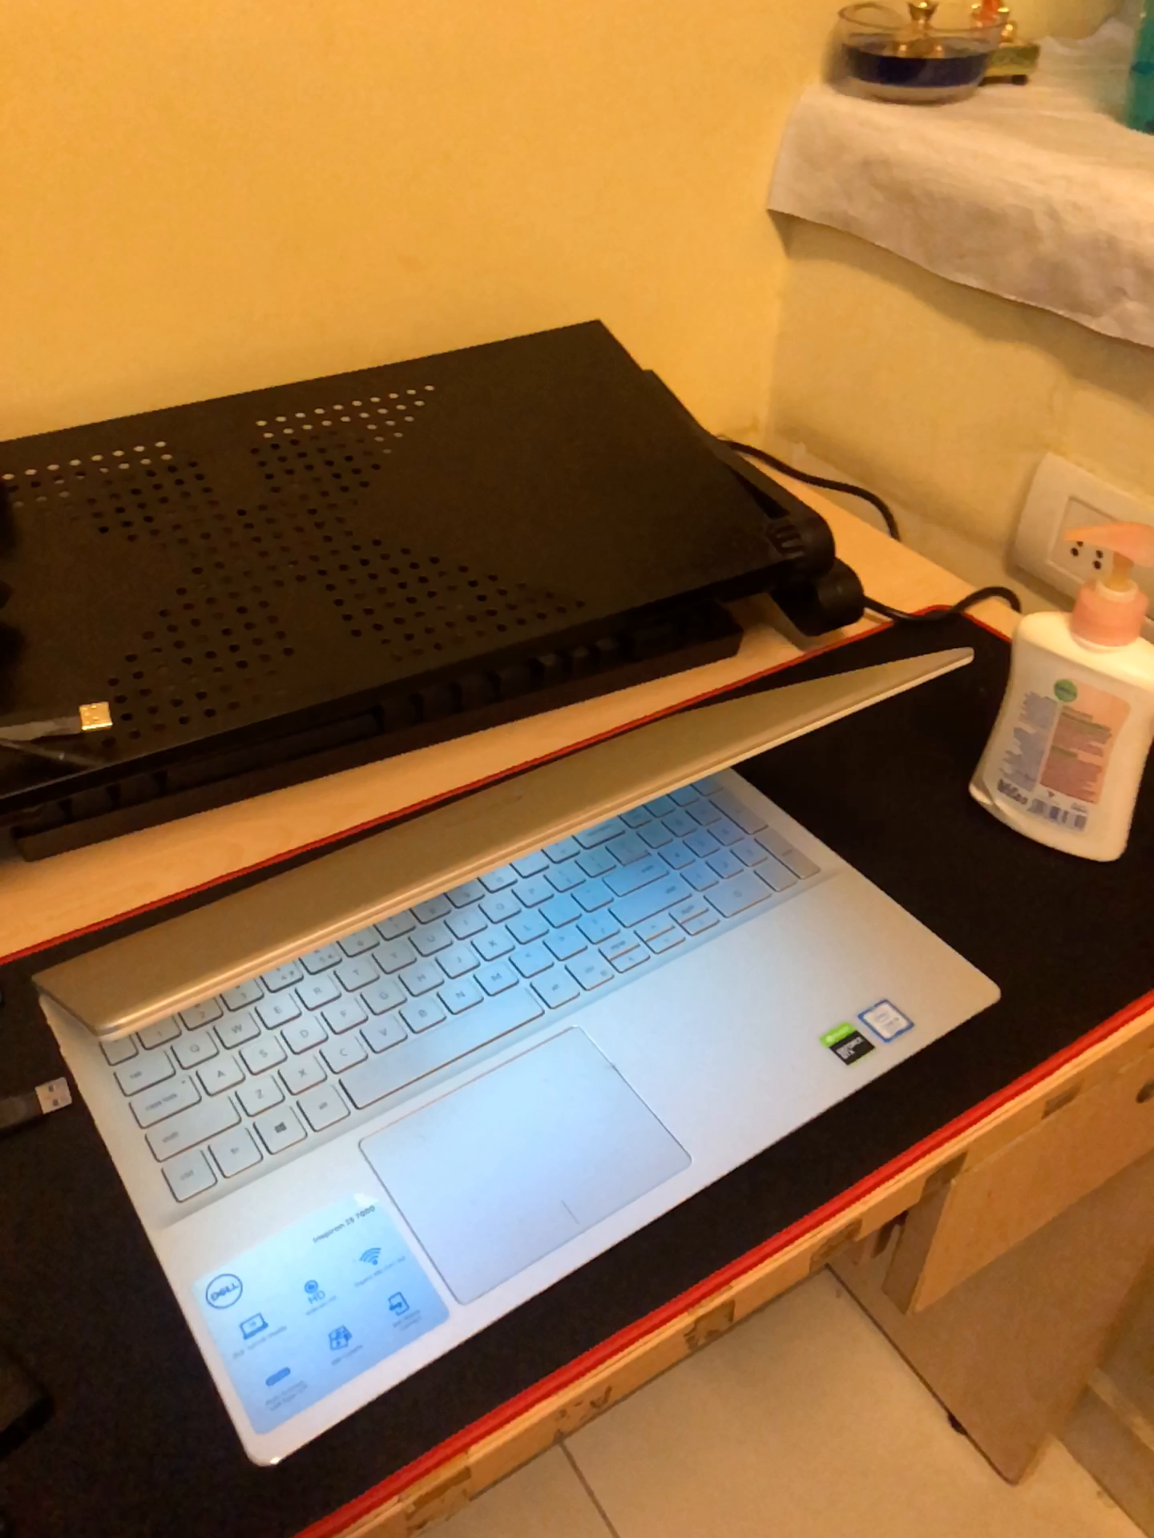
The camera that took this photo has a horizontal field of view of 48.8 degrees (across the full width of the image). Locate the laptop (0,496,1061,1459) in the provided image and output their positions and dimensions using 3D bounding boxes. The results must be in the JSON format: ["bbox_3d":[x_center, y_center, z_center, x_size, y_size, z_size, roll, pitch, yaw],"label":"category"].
[{"bbox_3d":[-0.024,0.046,0.514,0.352,0.139,0.219,-23,47,-27],"label":"laptop"}]
